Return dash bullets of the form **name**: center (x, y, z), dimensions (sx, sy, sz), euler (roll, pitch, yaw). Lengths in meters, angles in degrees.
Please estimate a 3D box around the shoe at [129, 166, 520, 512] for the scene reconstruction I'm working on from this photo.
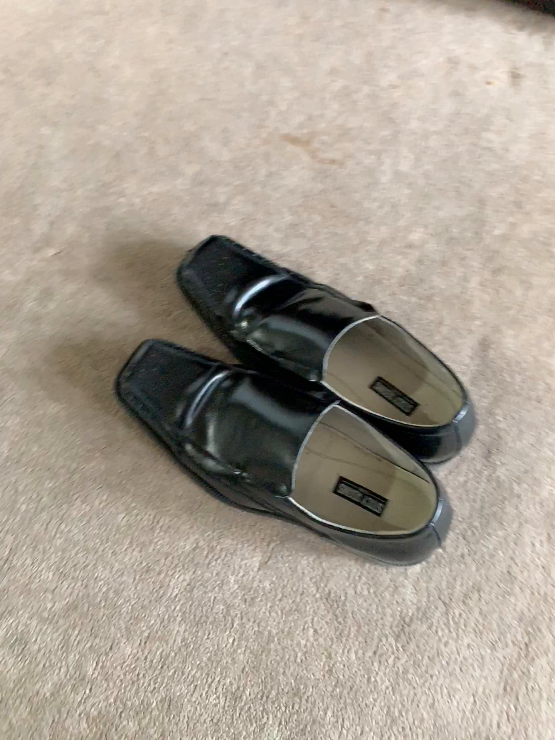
- **shoe**: center (0.031, -0.027, 0.520), dimensions (0.320, 0.120, 0.110), euler (39, 76, 15)

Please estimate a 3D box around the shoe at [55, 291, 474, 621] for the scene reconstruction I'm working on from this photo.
- **shoe**: center (-0.014, 0.072, 0.493), dimensions (0.310, 0.120, 0.110), euler (29, 74, 12)
